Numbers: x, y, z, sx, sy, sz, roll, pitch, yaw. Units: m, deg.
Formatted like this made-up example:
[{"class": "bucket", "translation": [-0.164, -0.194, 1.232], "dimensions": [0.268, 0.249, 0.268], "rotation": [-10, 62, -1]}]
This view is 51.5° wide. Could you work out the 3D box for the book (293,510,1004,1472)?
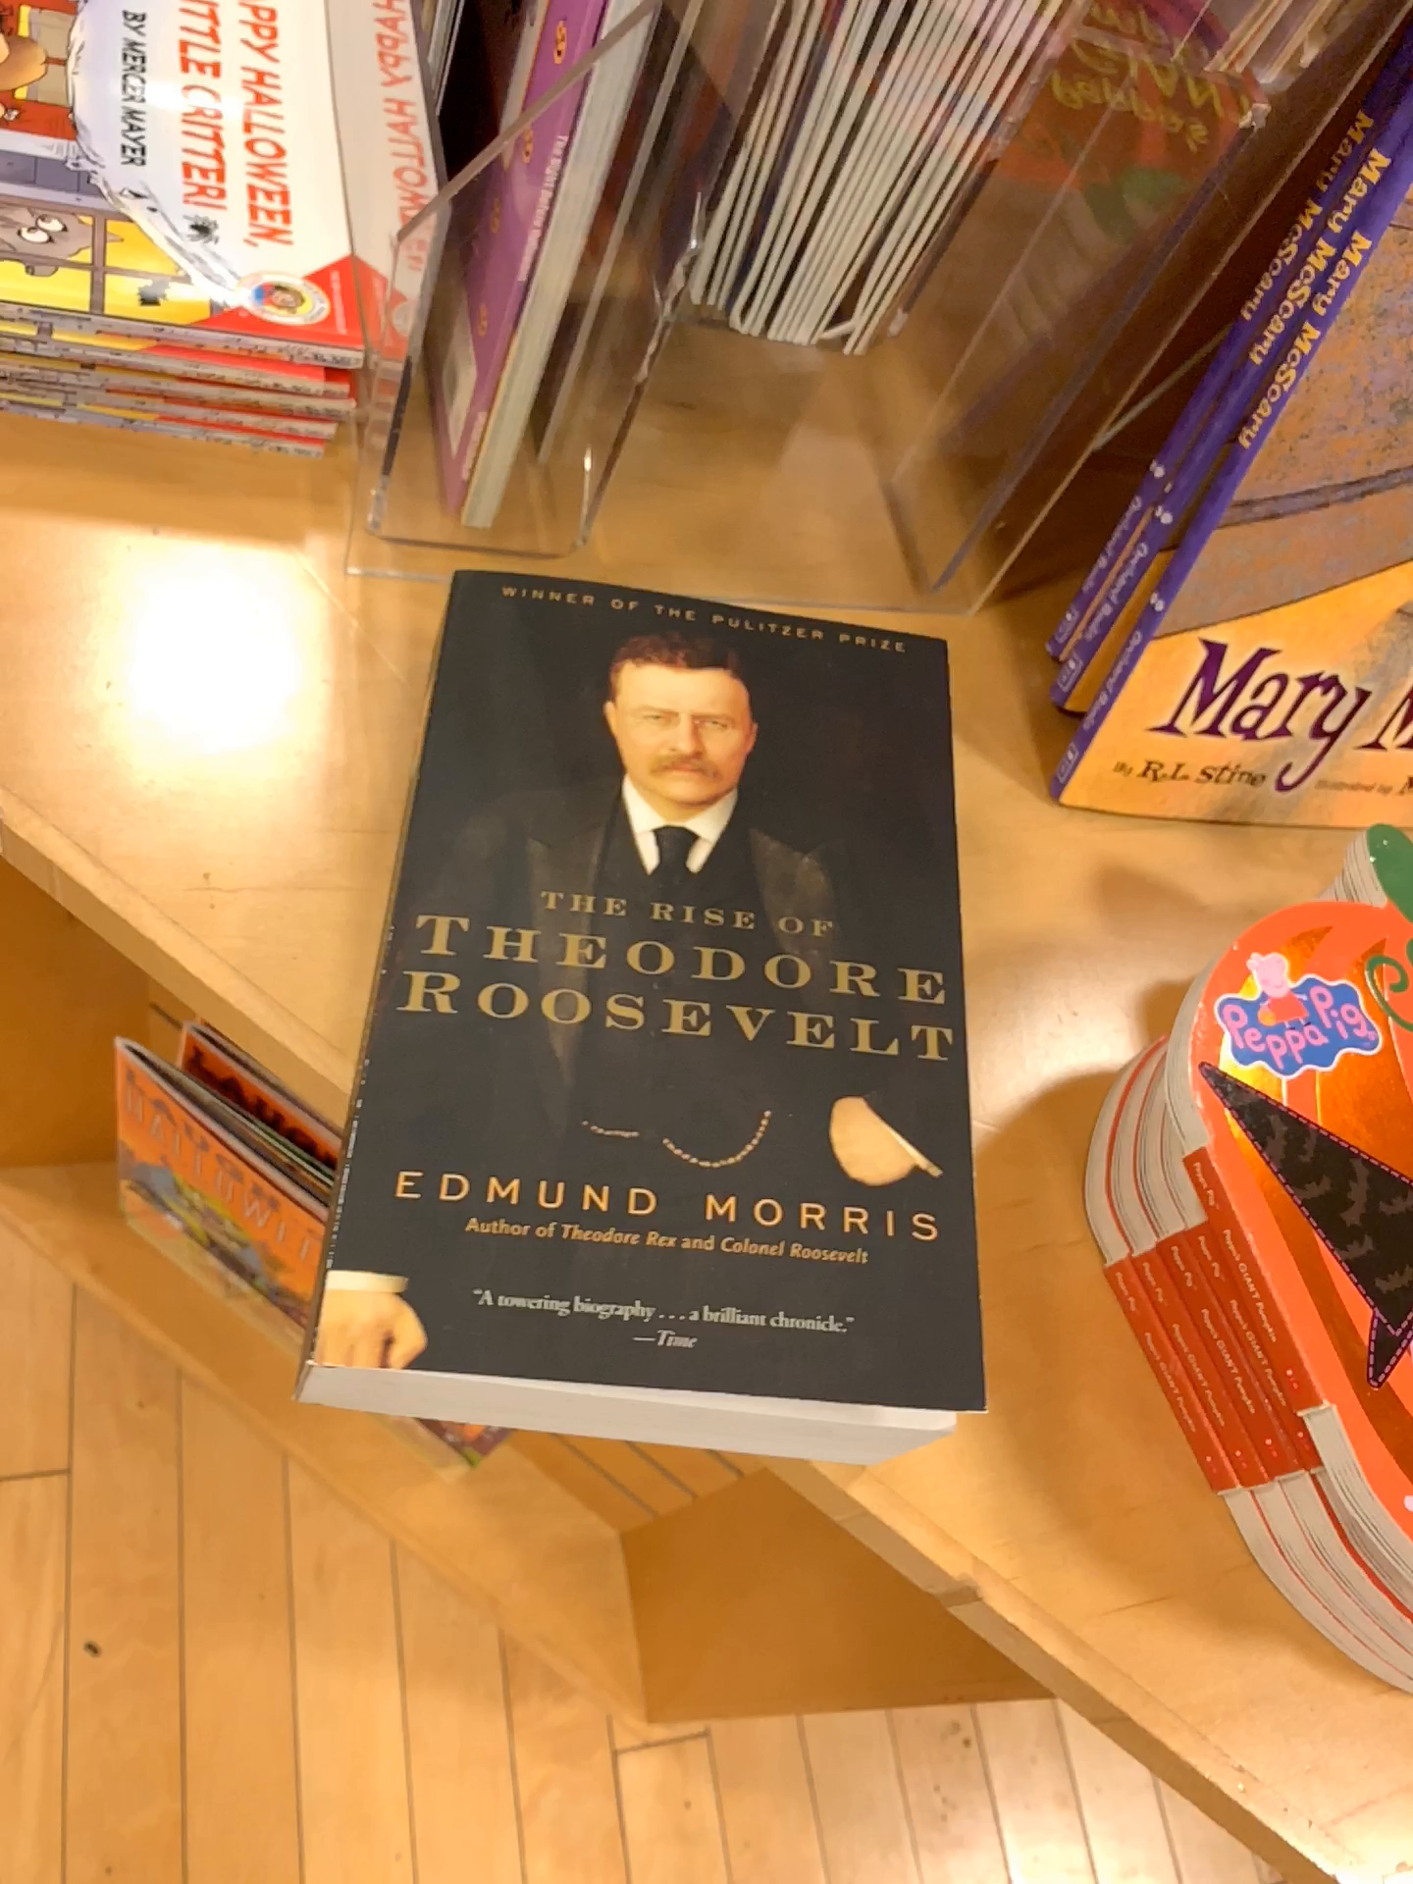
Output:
[{"class": "book", "translation": [-0.009, 0.010, 0.343], "dimensions": [0.130, 0.066, 0.195], "rotation": [12, 59, -14]}]
